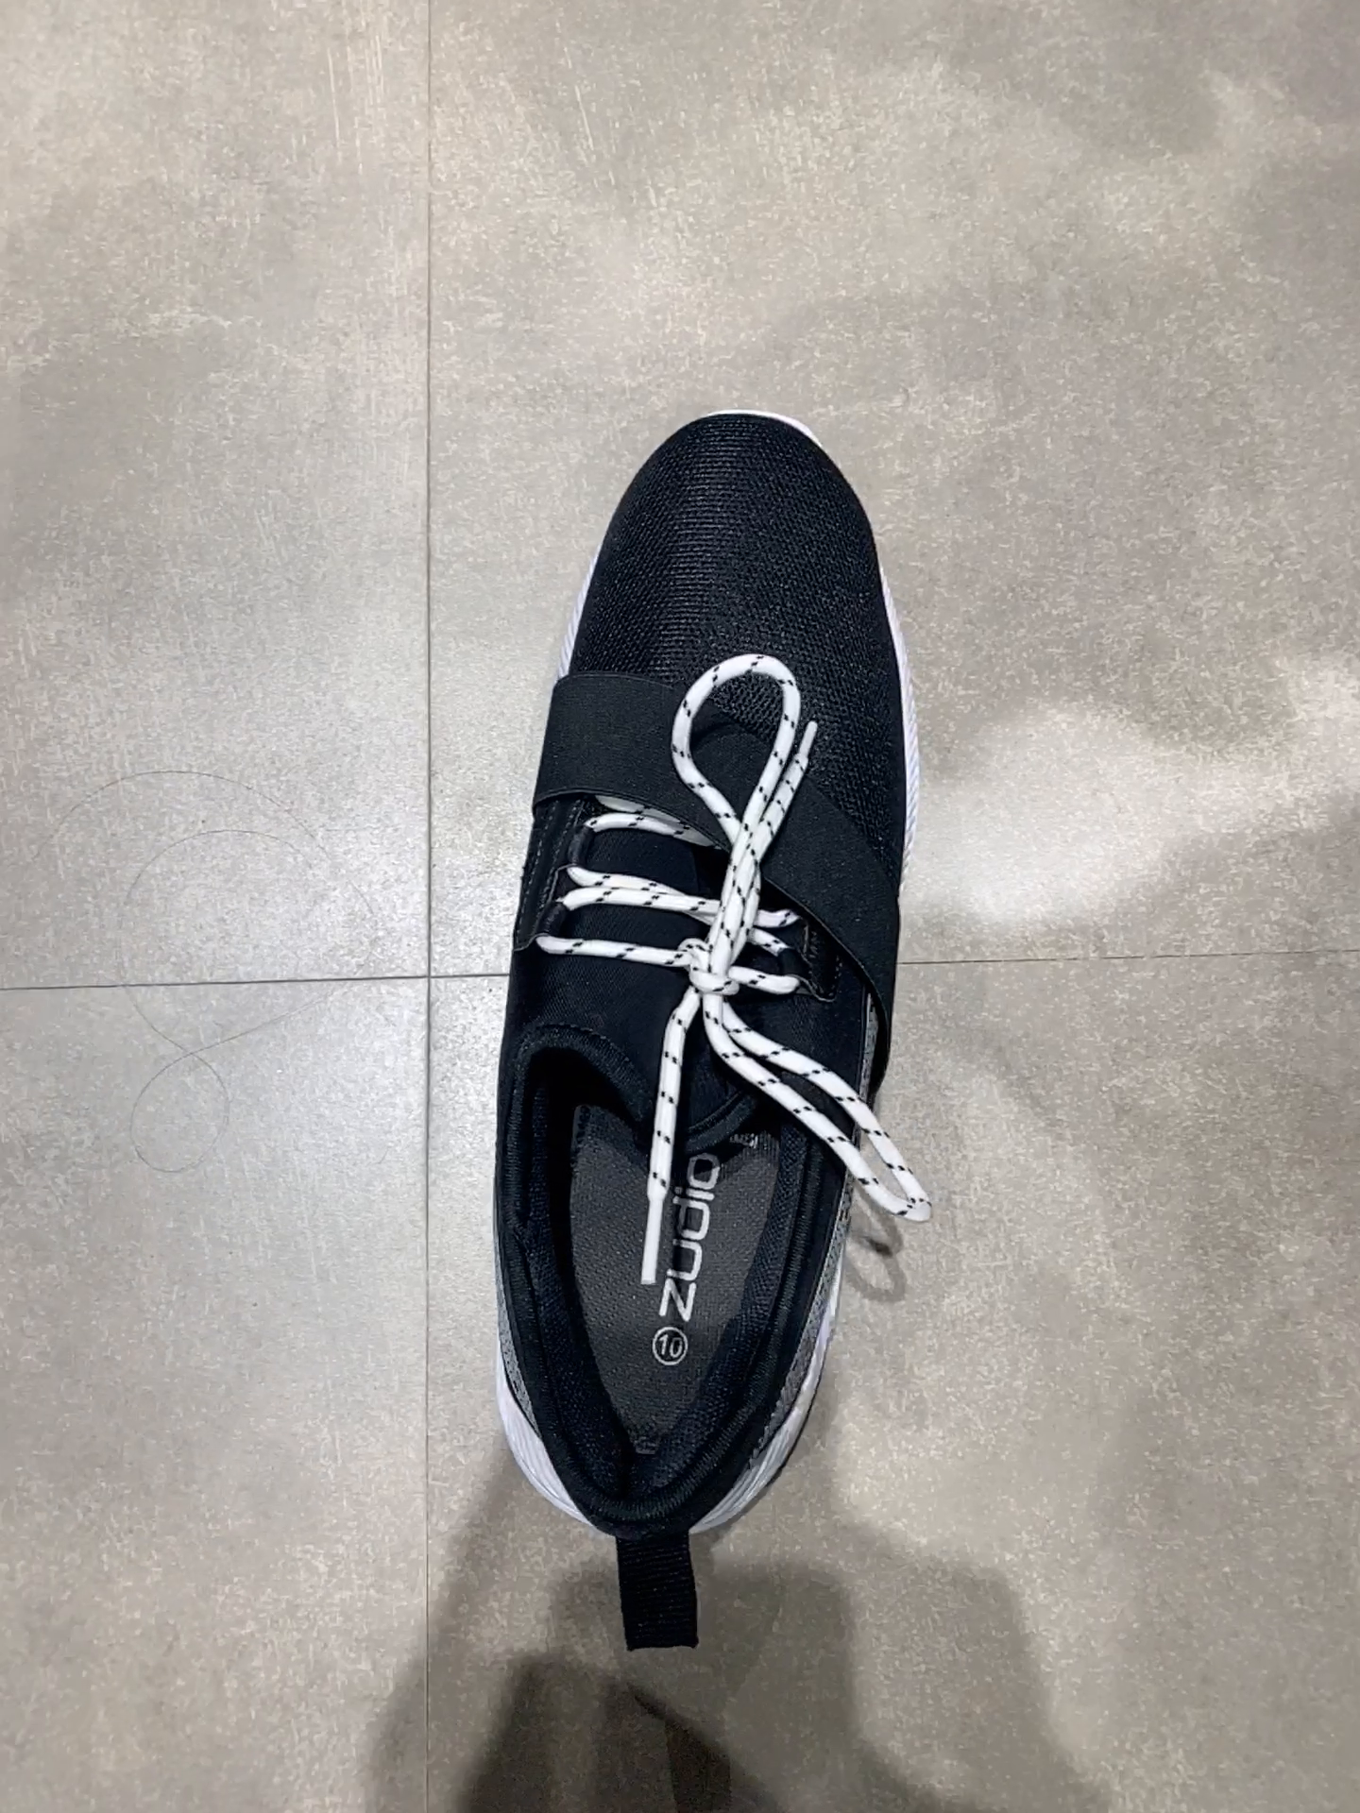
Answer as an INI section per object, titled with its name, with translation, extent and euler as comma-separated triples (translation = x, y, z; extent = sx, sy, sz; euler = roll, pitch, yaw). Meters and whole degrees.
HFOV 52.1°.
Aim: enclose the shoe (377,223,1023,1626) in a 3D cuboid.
[shoe]
translation = 0.009, 0.002, 0.370
extent = 0.116, 0.132, 0.304
euler = 6, 77, -1
